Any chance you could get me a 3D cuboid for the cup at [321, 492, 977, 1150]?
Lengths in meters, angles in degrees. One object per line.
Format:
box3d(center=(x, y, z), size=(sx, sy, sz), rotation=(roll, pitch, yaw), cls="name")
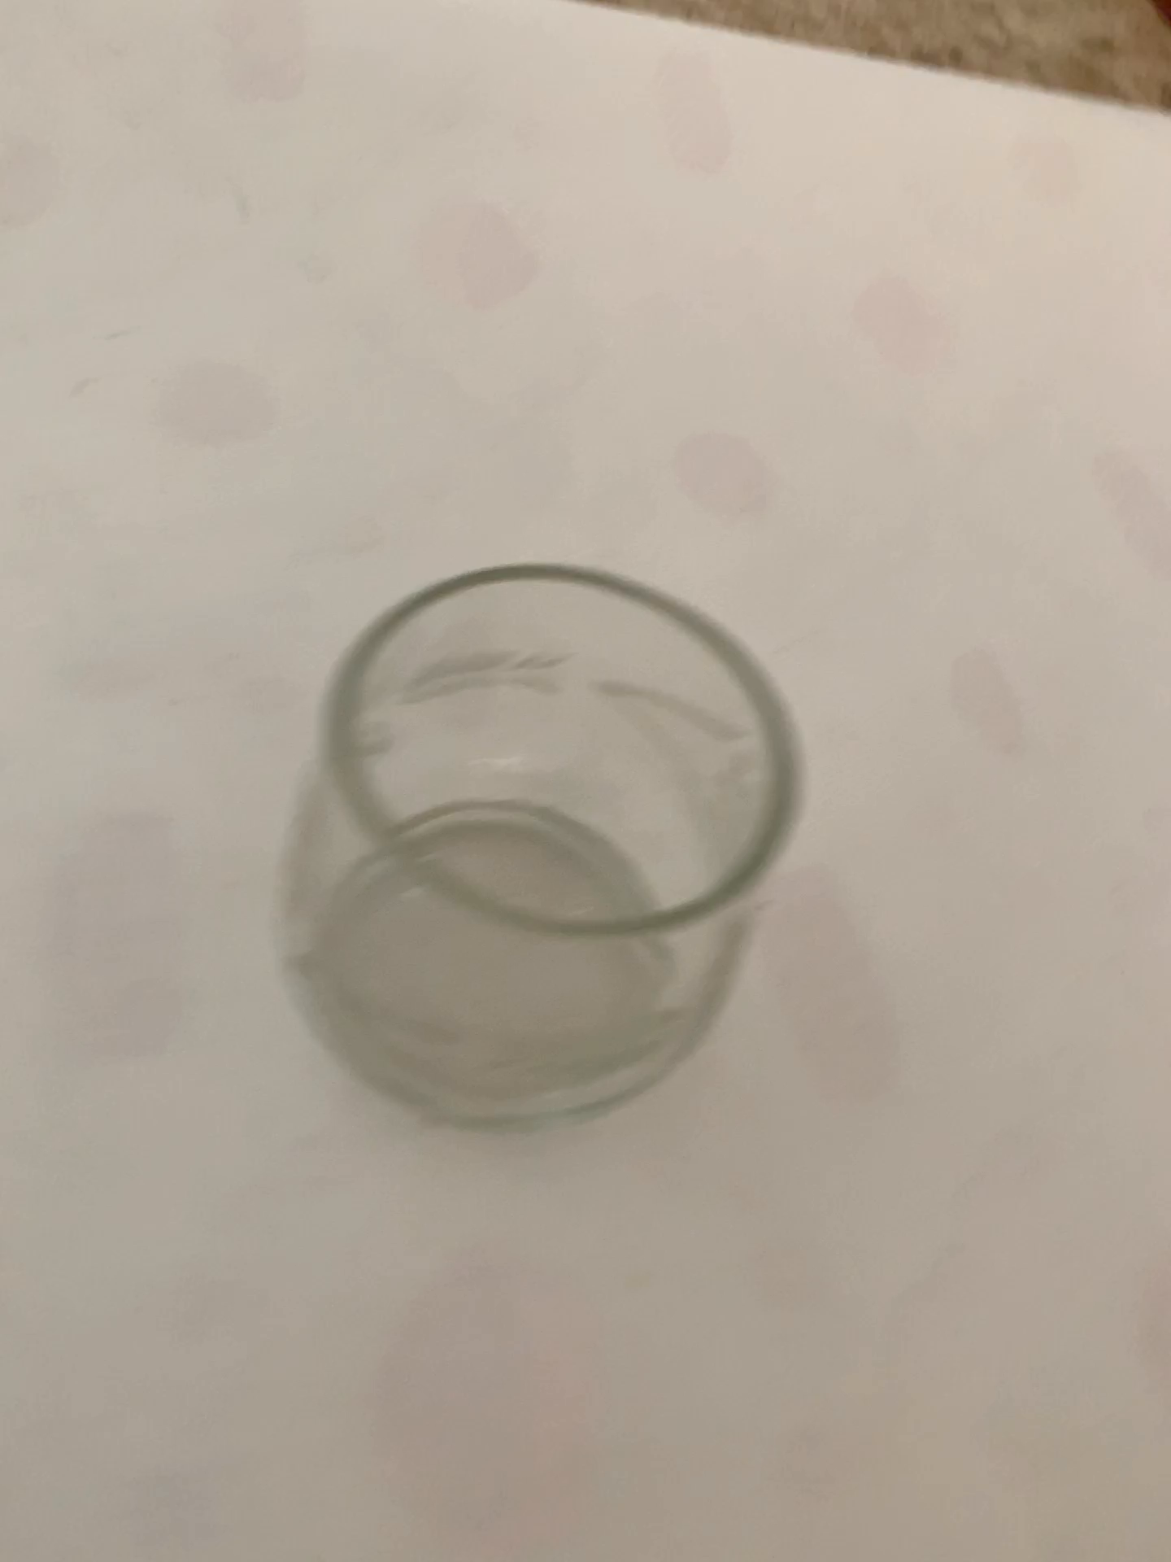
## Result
box3d(center=(0.001, 0.008, 0.192), size=(0.080, 0.060, 0.080), rotation=(7, 53, -9), cls="cup")
